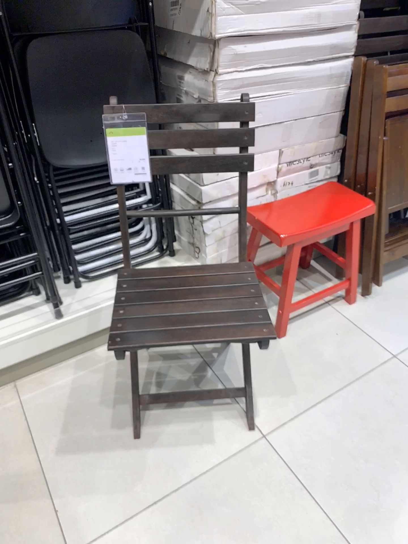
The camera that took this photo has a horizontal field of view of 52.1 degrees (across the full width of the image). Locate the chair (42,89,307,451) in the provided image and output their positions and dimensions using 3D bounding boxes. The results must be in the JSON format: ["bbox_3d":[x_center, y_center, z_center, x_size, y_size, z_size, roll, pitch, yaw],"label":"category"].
[{"bbox_3d":[-0.062,0.009,1.092,0.420,0.797,0.482,-3,37,-4],"label":"chair"}]
